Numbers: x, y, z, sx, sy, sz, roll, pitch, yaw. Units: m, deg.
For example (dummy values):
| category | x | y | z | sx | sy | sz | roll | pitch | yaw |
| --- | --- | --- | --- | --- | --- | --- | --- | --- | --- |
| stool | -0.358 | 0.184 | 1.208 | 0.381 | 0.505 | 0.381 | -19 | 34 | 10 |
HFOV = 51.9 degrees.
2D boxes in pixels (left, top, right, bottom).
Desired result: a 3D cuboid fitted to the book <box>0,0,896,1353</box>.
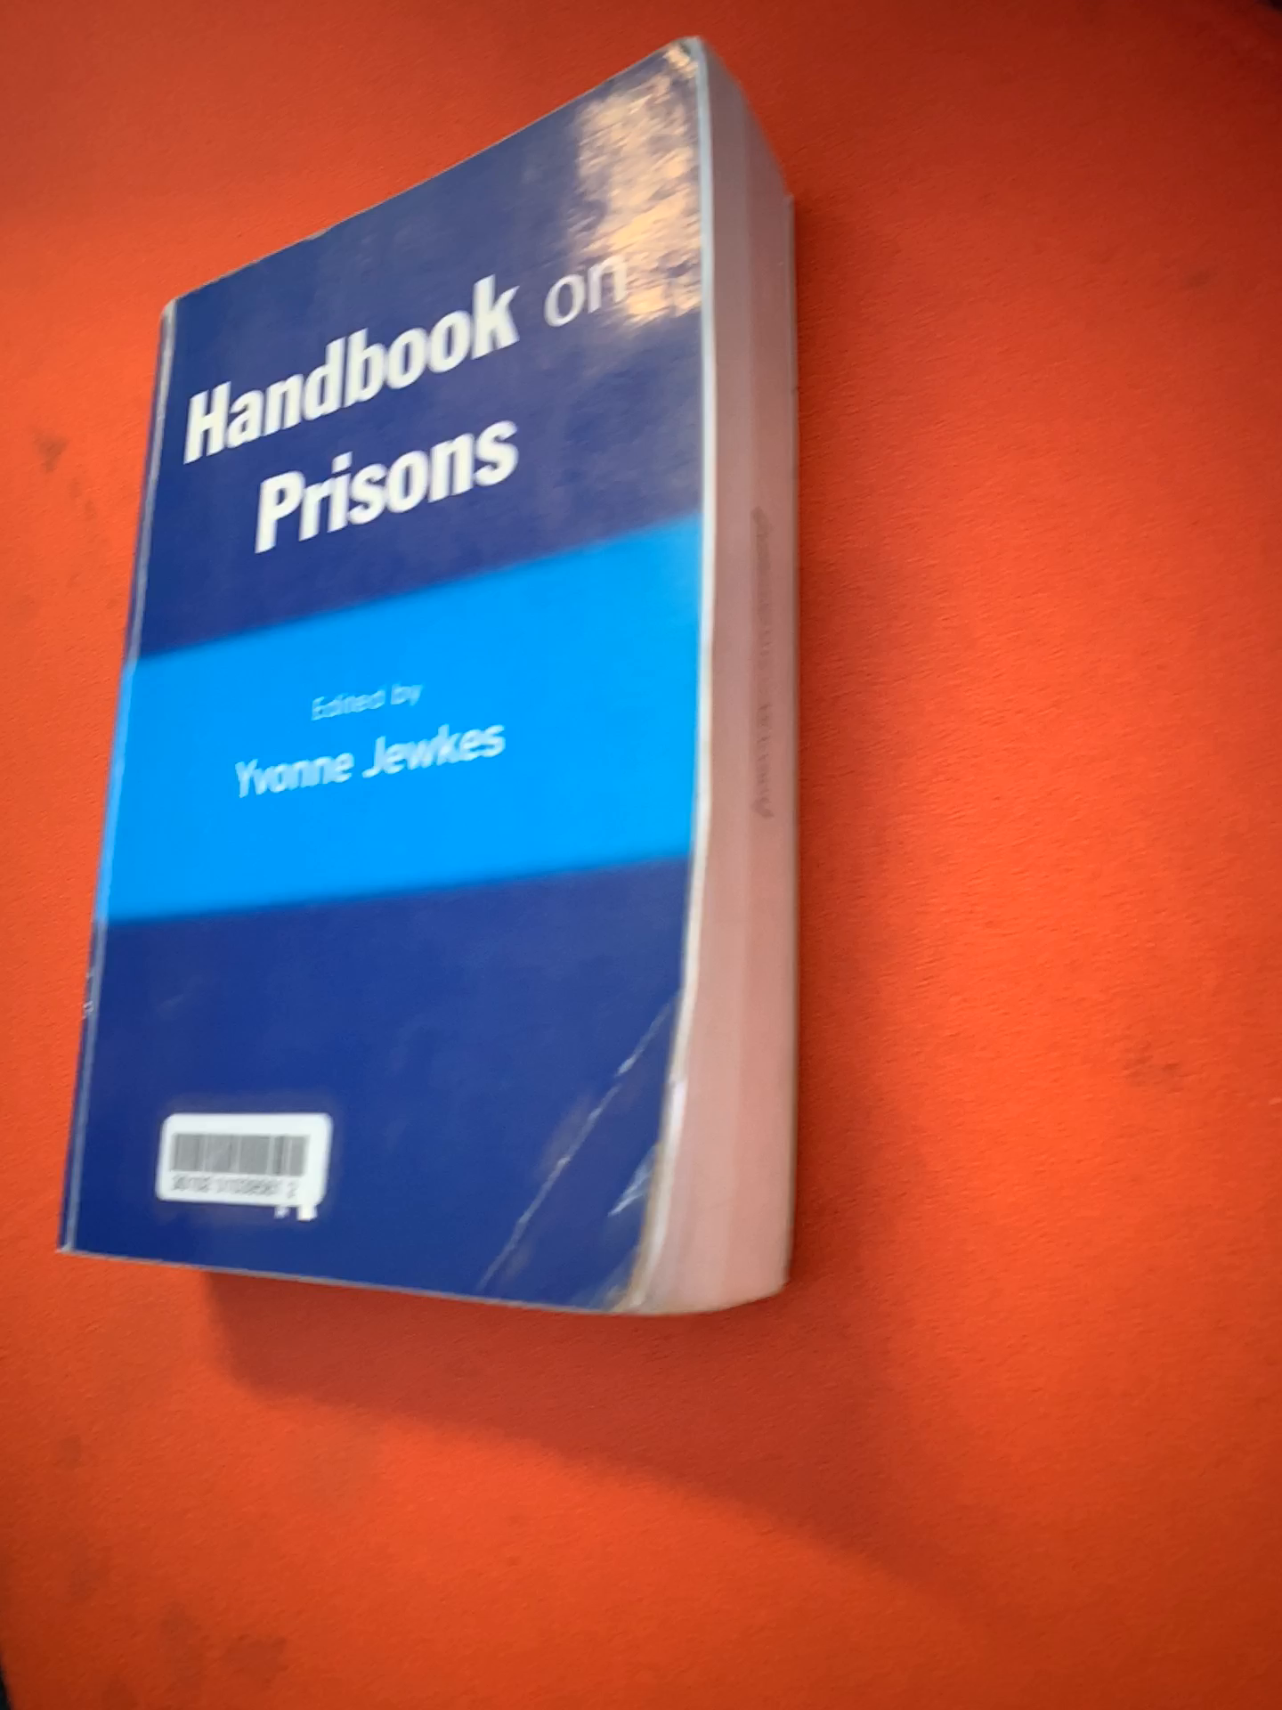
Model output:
| category | x | y | z | sx | sy | sz | roll | pitch | yaw |
| --- | --- | --- | --- | --- | --- | --- | --- | --- | --- |
| book | -0.045 | -0.036 | 0.318 | 0.201 | 0.060 | 0.271 | -7 | 72 | 32 |
